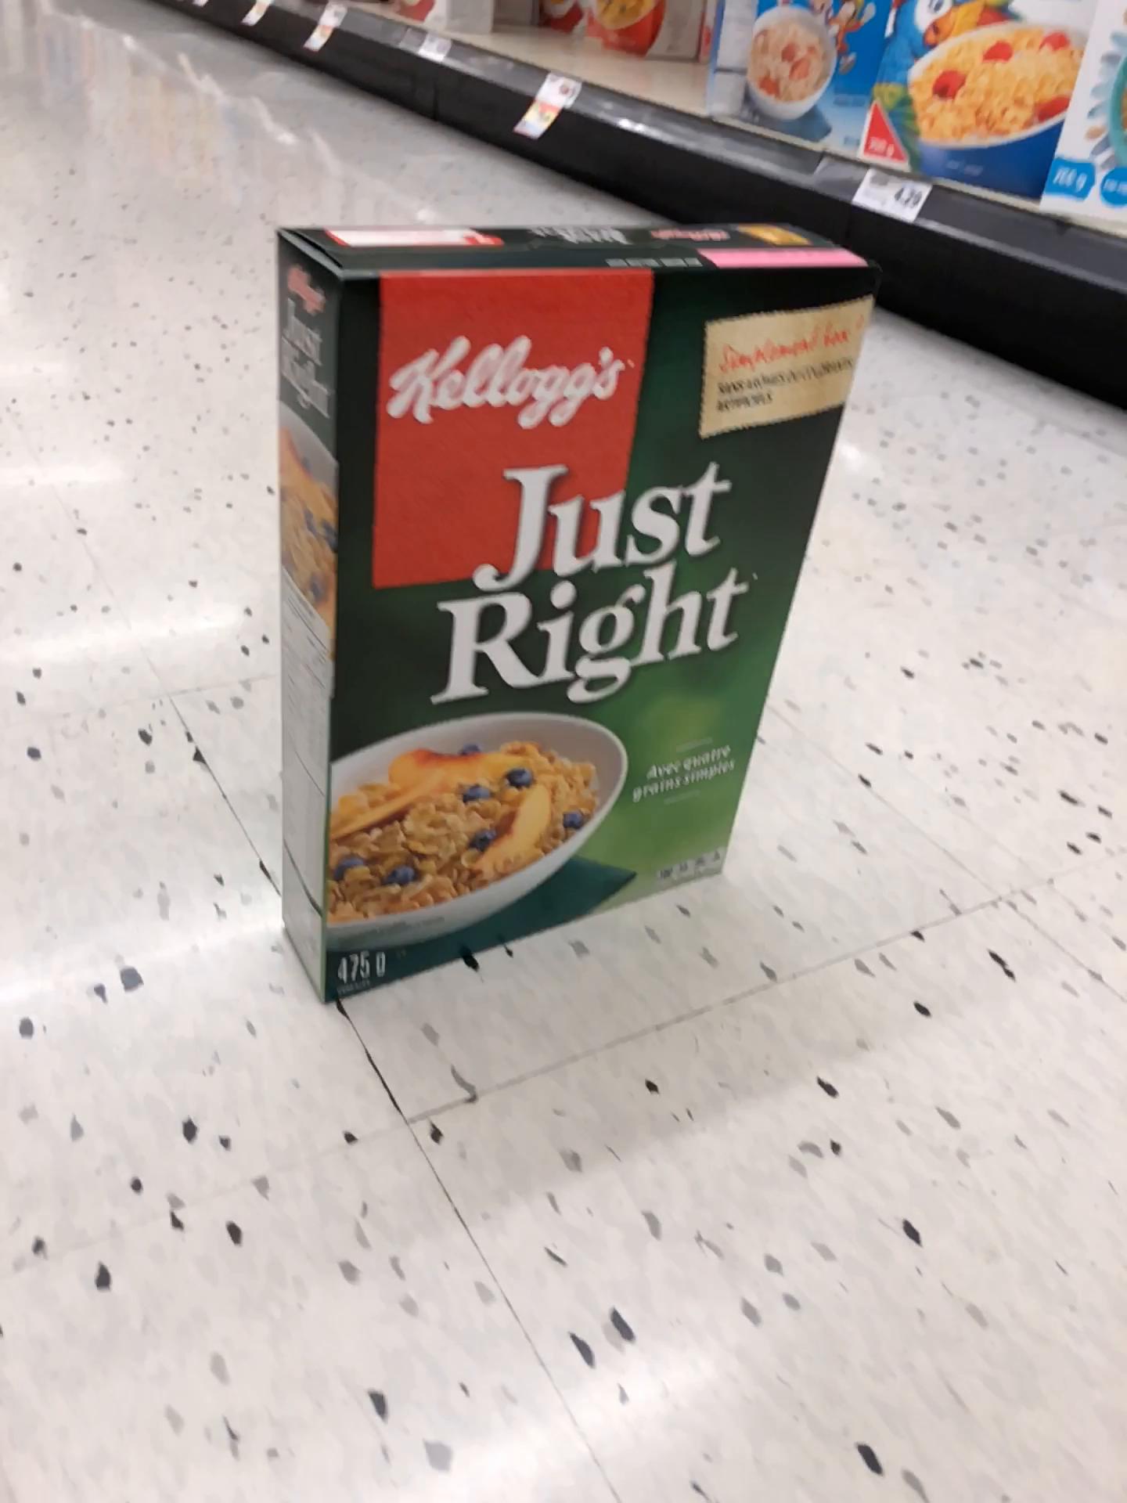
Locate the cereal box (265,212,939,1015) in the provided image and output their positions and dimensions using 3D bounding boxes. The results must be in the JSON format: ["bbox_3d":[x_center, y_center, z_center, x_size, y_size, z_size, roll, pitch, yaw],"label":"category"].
[{"bbox_3d":[0.004,-0.046,0.451,0.210,0.268,0.050,-13,39,-28],"label":"cereal box"}]
